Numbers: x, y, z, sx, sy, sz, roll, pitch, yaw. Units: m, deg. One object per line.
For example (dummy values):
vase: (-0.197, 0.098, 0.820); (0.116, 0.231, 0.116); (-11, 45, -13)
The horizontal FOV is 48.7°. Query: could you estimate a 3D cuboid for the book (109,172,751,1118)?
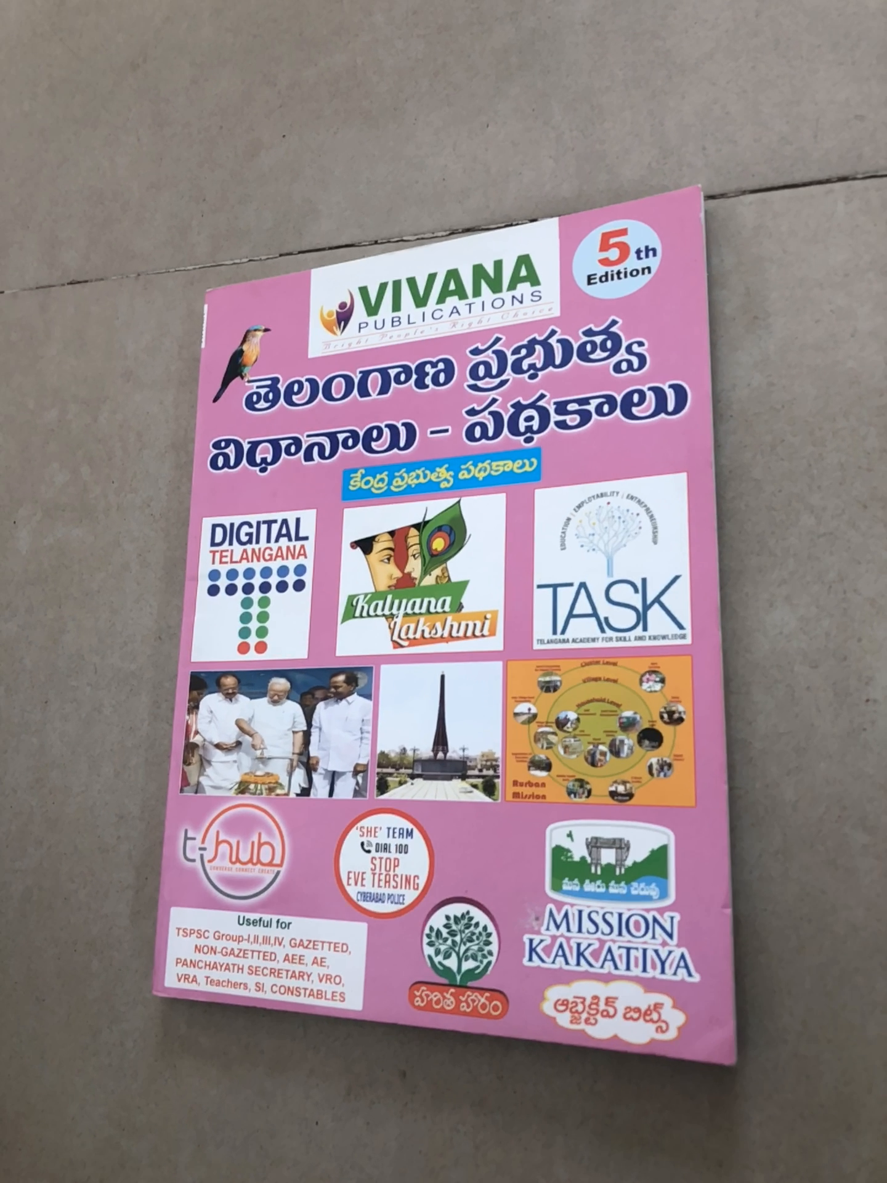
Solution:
book: (-0.006, 0.010, 0.333); (0.200, 0.040, 0.270); (-3, 77, 22)
